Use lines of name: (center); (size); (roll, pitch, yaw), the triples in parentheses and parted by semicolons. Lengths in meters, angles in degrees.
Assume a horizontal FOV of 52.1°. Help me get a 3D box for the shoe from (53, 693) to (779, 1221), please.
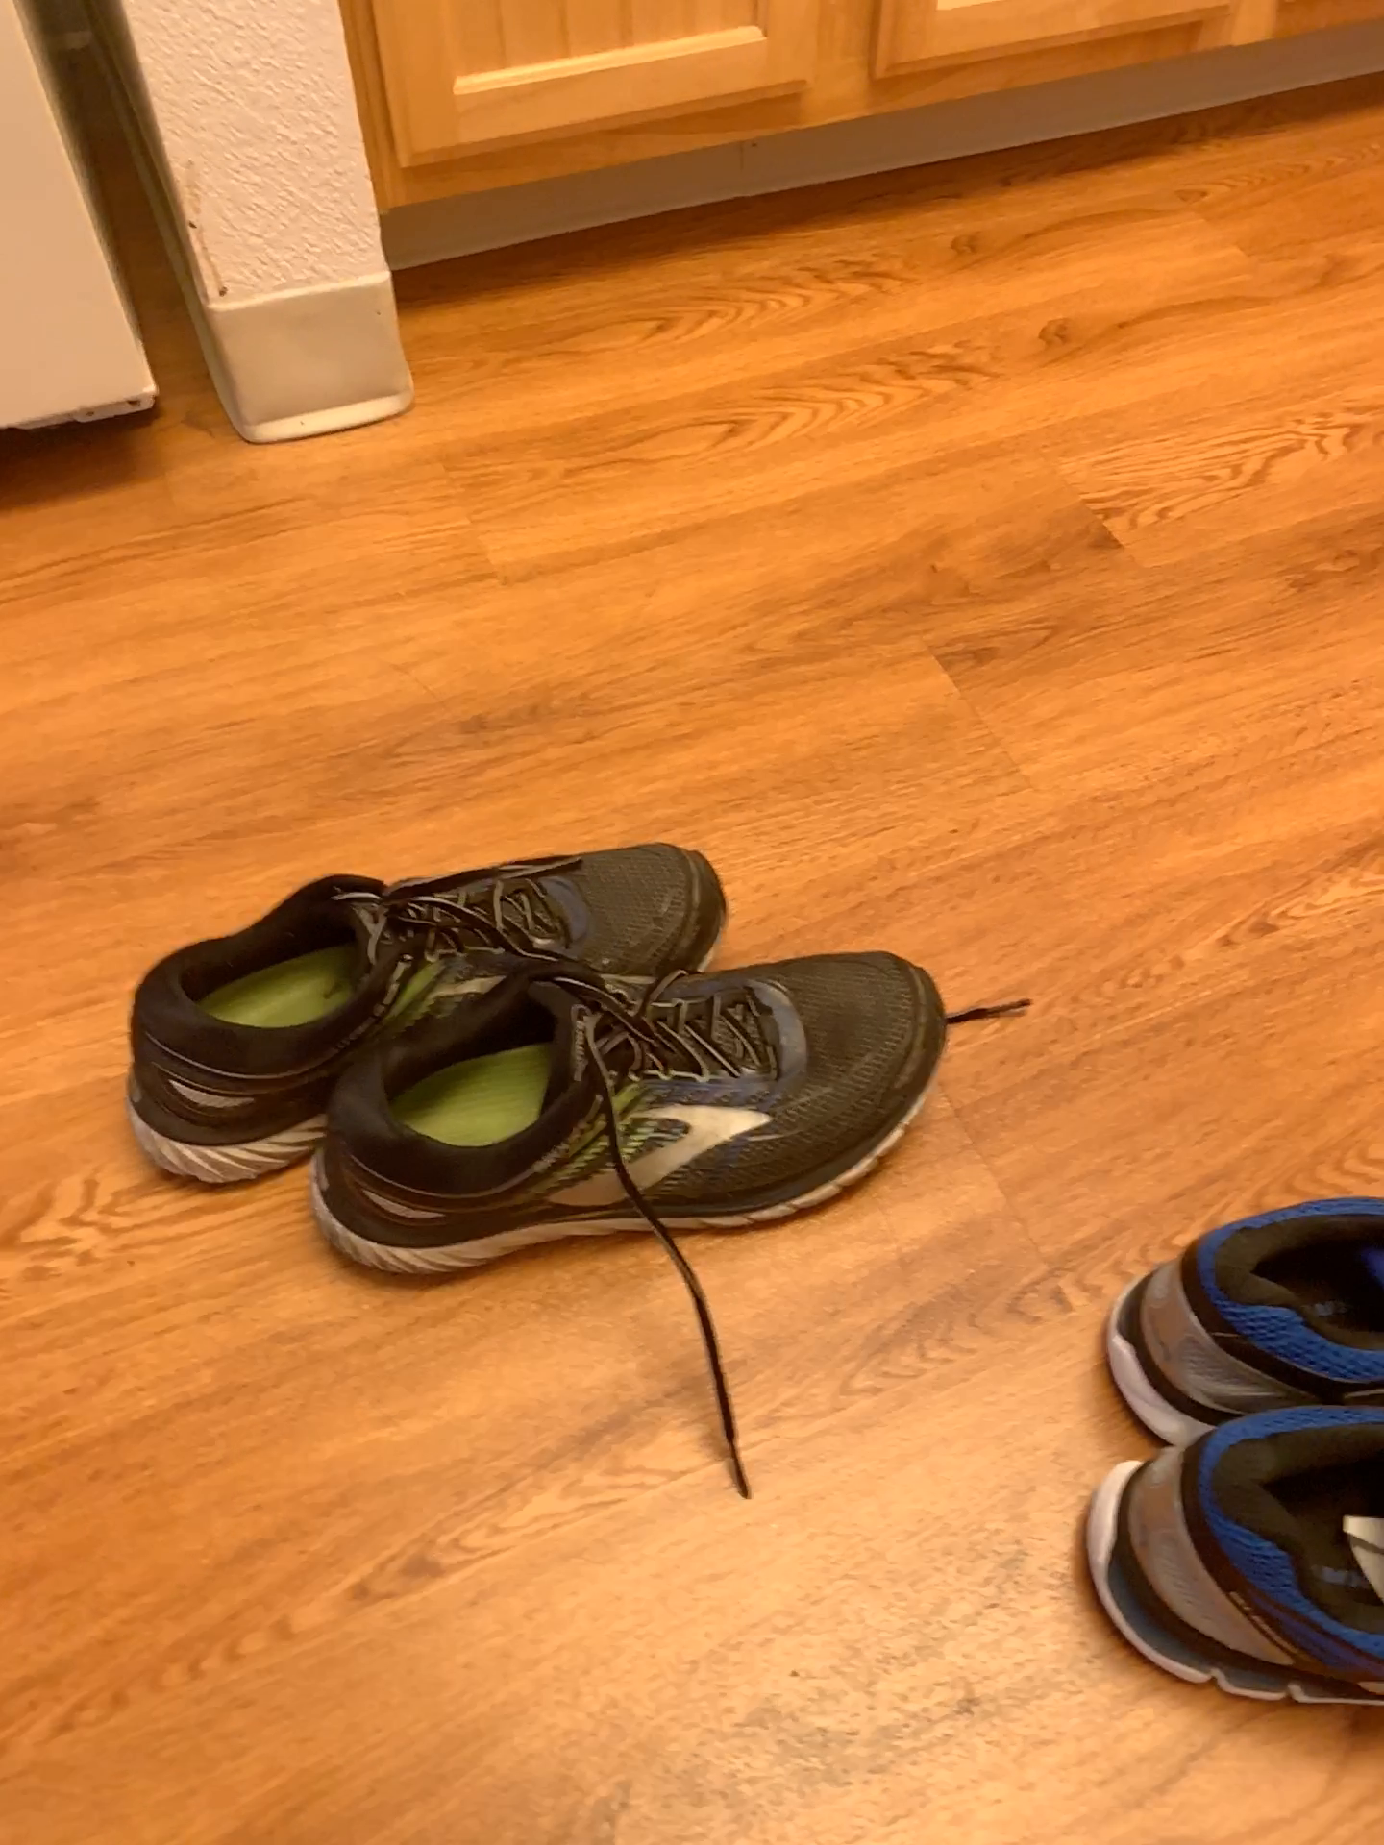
shoe: (-0.121, 0.013, 0.687); (0.310, 0.119, 0.100); (-22, 56, -15)

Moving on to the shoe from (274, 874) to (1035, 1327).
shoe: (-0.018, 0.082, 0.652); (0.310, 0.119, 0.100); (-11, 53, -8)
